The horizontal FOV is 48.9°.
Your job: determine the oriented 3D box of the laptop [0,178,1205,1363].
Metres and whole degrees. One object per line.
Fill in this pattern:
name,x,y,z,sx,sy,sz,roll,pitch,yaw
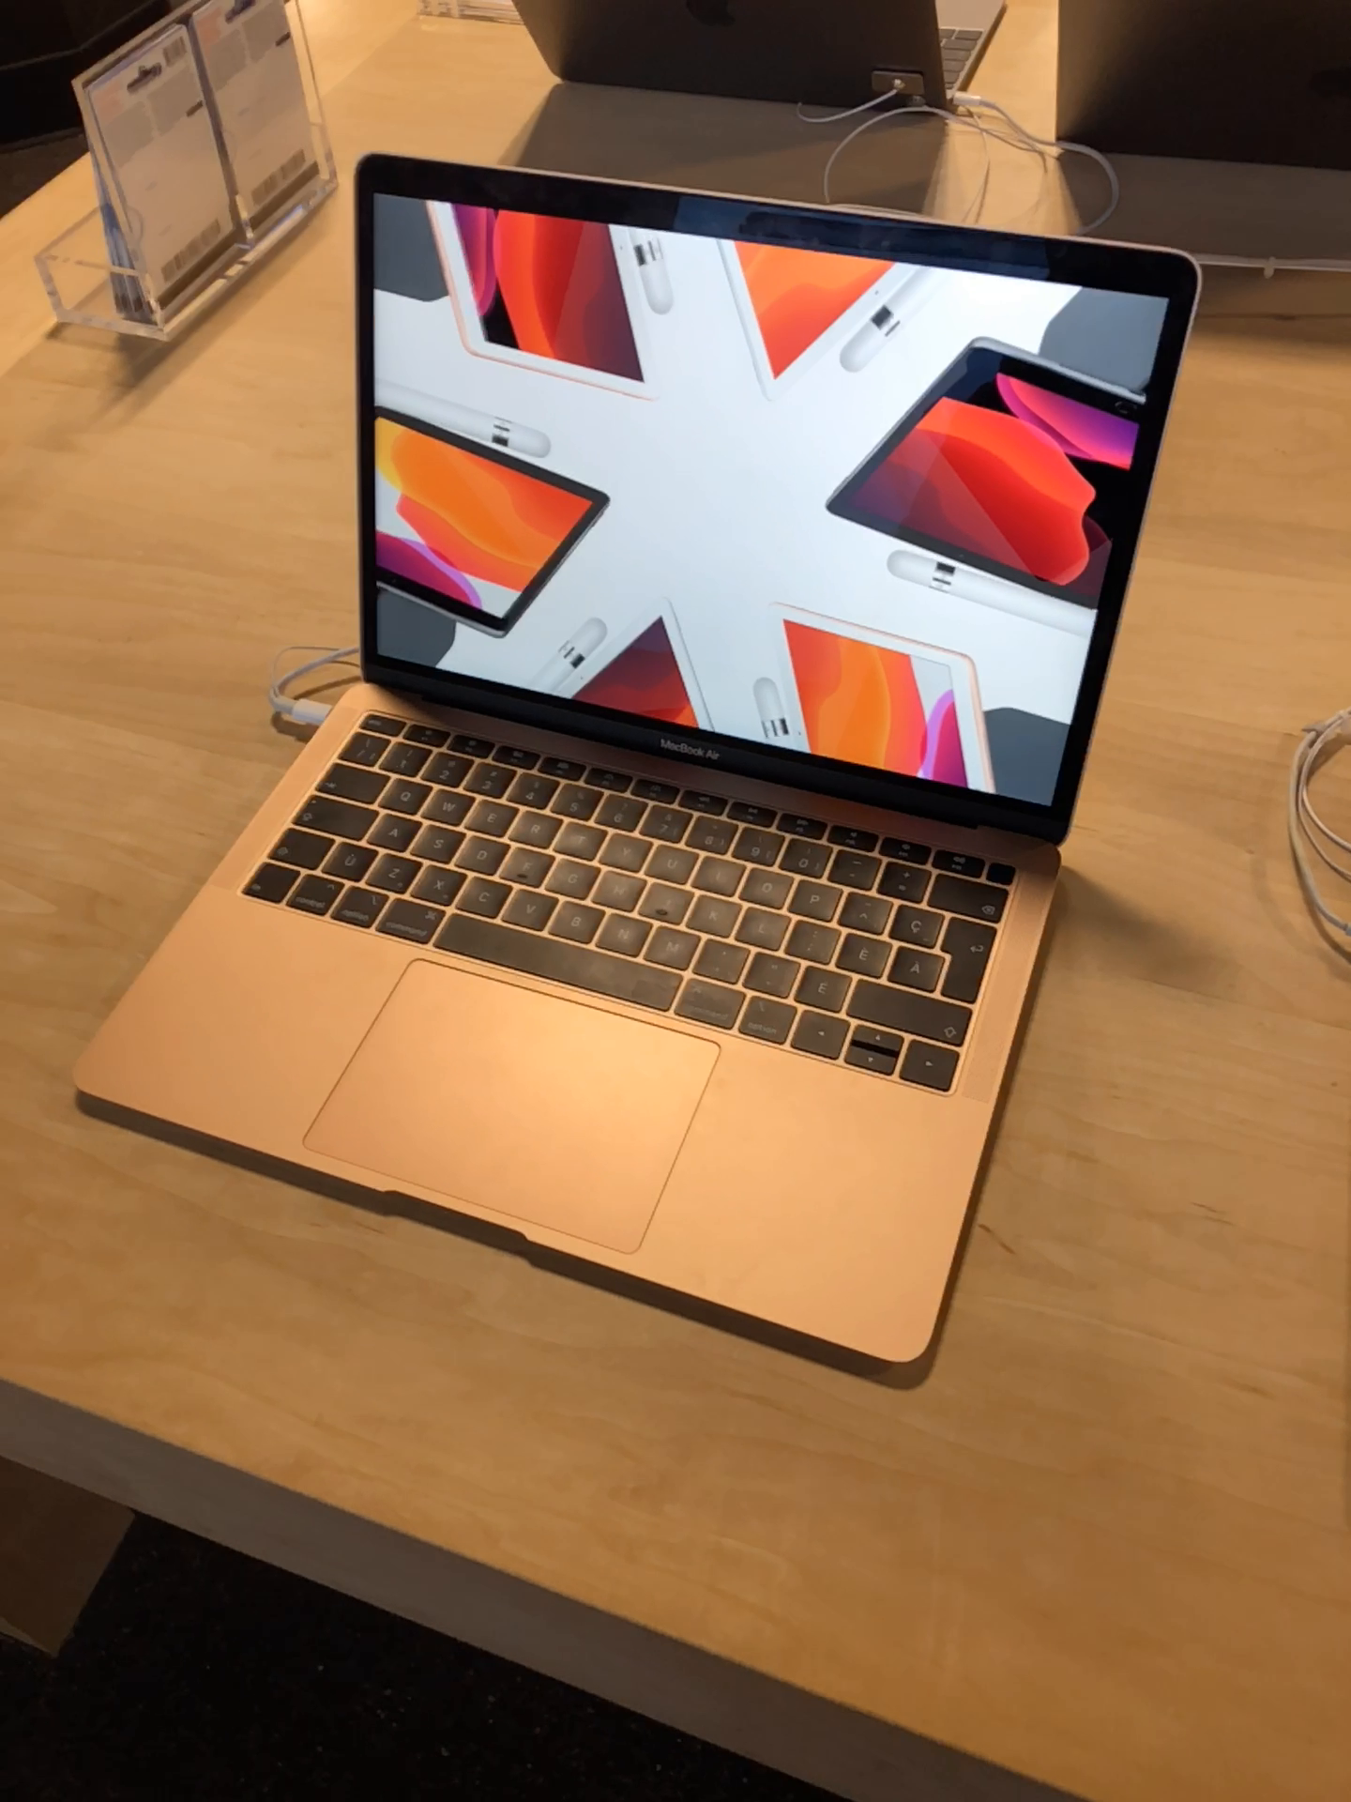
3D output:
laptop,-0.021,-0.065,0.479,0.292,0.183,0.284,15,52,17
